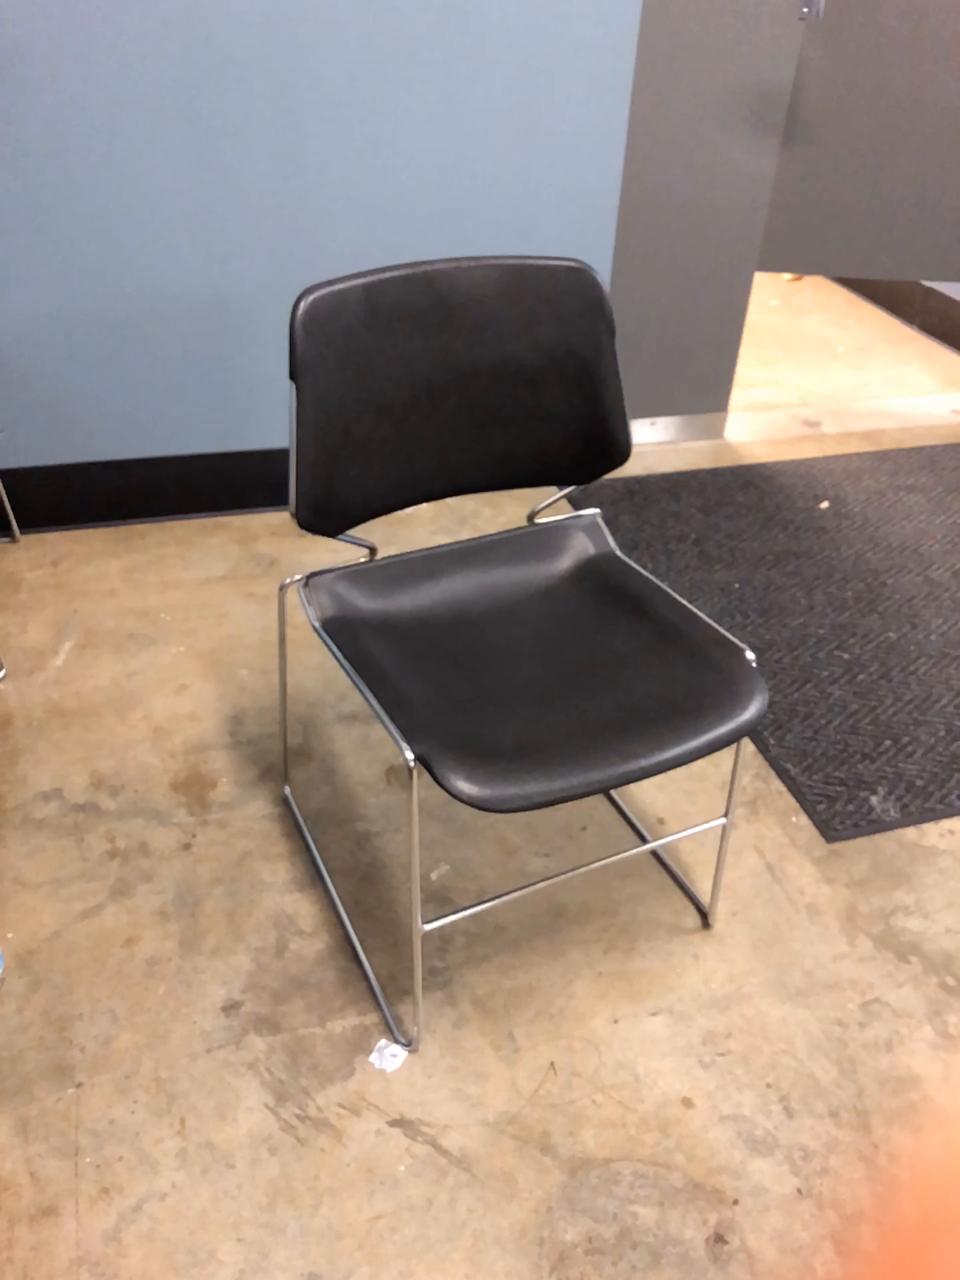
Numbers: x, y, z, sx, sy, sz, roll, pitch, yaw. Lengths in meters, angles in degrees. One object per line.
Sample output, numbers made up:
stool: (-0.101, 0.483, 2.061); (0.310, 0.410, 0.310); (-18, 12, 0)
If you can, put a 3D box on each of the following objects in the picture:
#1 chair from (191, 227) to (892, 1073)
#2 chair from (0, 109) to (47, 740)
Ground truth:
chair: (0.015, -0.014, 1.336); (0.531, 0.799, 0.546); (-14, 39, -23)
chair: (-1.102, -0.364, 1.712); (0.595, 0.799, 0.552); (-7, 37, -15)
